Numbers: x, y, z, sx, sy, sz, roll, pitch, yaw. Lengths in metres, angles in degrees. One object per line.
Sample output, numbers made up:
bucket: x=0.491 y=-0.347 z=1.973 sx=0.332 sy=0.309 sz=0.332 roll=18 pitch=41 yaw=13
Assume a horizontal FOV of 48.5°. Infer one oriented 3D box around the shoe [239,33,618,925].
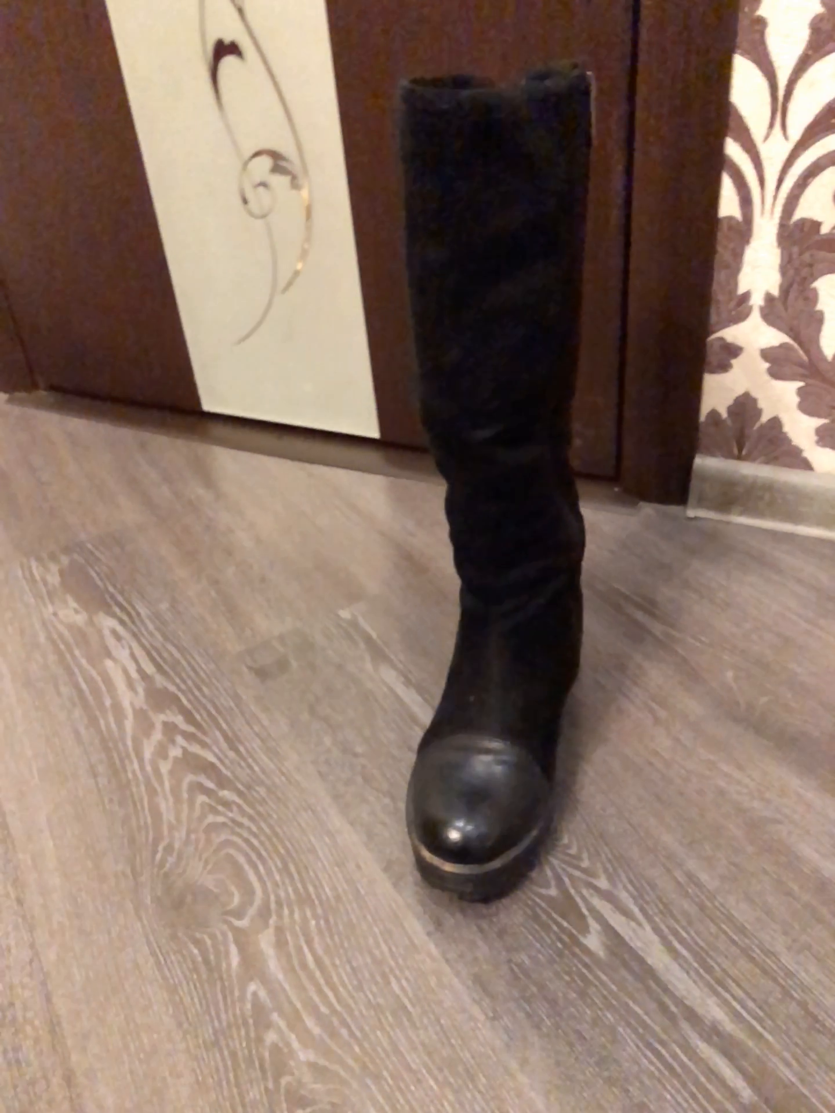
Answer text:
shoe: x=0.040 y=-0.040 z=0.513 sx=0.100 sy=0.407 sz=0.251 roll=5 pitch=35 yaw=17
